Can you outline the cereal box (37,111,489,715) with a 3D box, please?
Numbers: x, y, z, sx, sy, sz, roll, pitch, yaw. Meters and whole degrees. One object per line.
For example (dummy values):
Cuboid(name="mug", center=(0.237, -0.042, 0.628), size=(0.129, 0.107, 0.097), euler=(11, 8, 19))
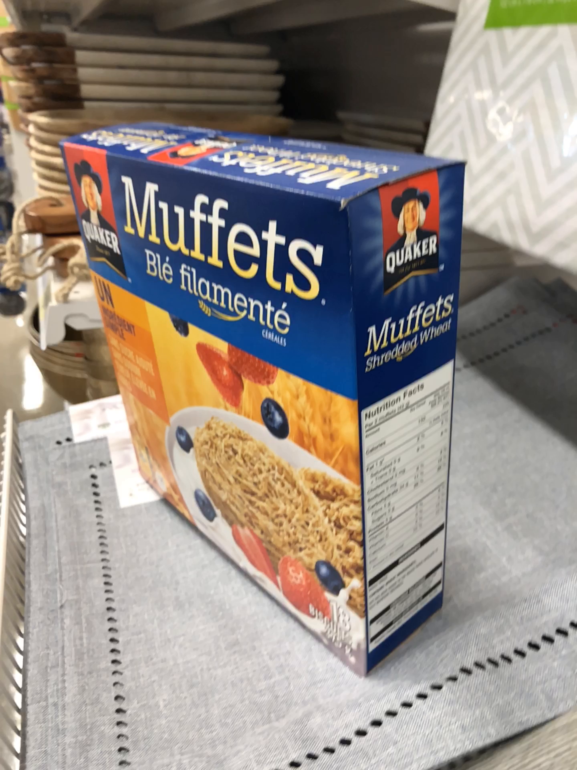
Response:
Cuboid(name="cereal box", center=(-0.027, -0.008, 0.334), size=(0.060, 0.229, 0.251), euler=(-24, 34, -30))
